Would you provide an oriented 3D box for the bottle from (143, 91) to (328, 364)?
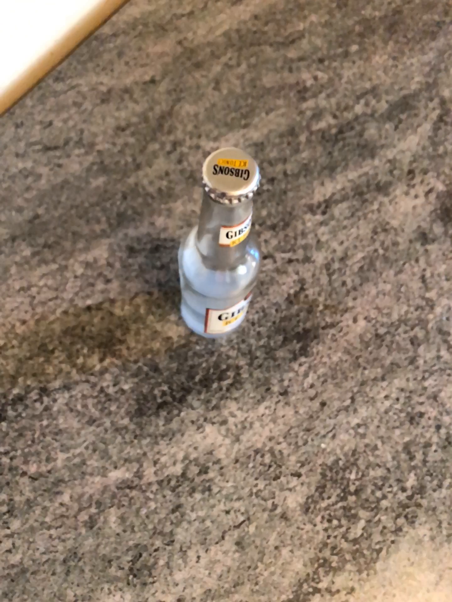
[{"bbox_3d":[0.000,-0.027,0.336,0.060,0.209,0.070,30,71,8],"label":"bottle"}]
